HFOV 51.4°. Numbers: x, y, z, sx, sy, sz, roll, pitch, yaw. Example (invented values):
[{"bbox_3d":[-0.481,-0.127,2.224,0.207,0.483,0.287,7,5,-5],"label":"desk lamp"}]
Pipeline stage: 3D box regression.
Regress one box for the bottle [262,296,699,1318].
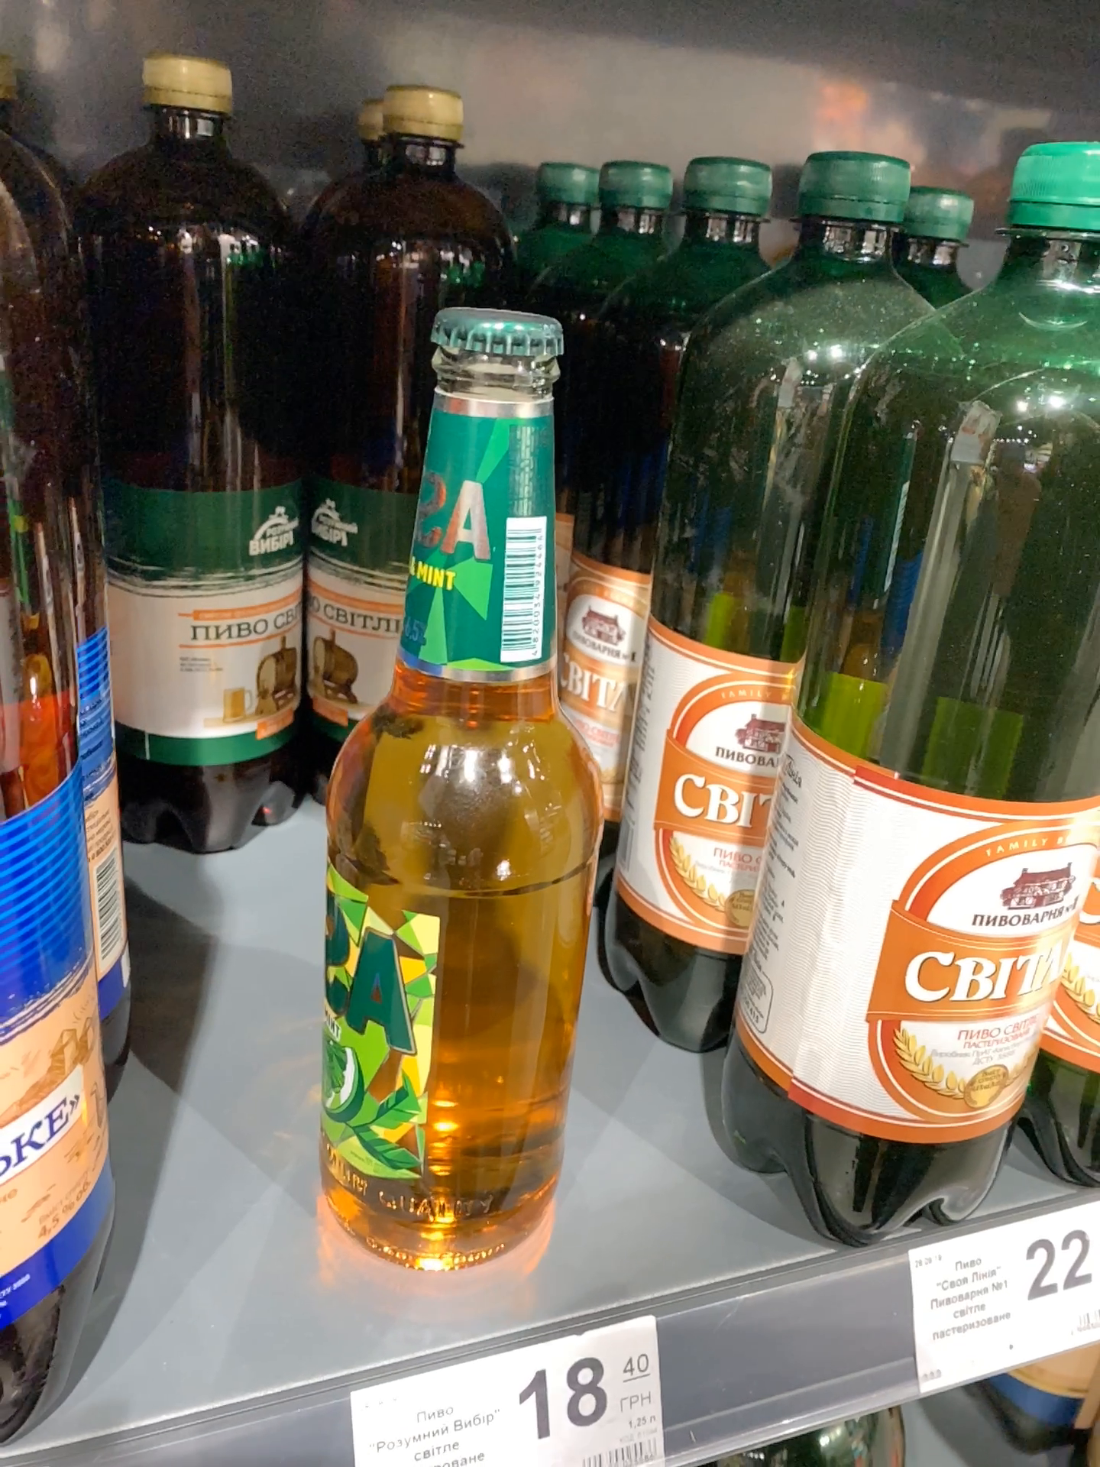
[{"bbox_3d":[-0.027,0.021,0.290,0.066,0.238,0.072,5,23,-2],"label":"bottle"}]
